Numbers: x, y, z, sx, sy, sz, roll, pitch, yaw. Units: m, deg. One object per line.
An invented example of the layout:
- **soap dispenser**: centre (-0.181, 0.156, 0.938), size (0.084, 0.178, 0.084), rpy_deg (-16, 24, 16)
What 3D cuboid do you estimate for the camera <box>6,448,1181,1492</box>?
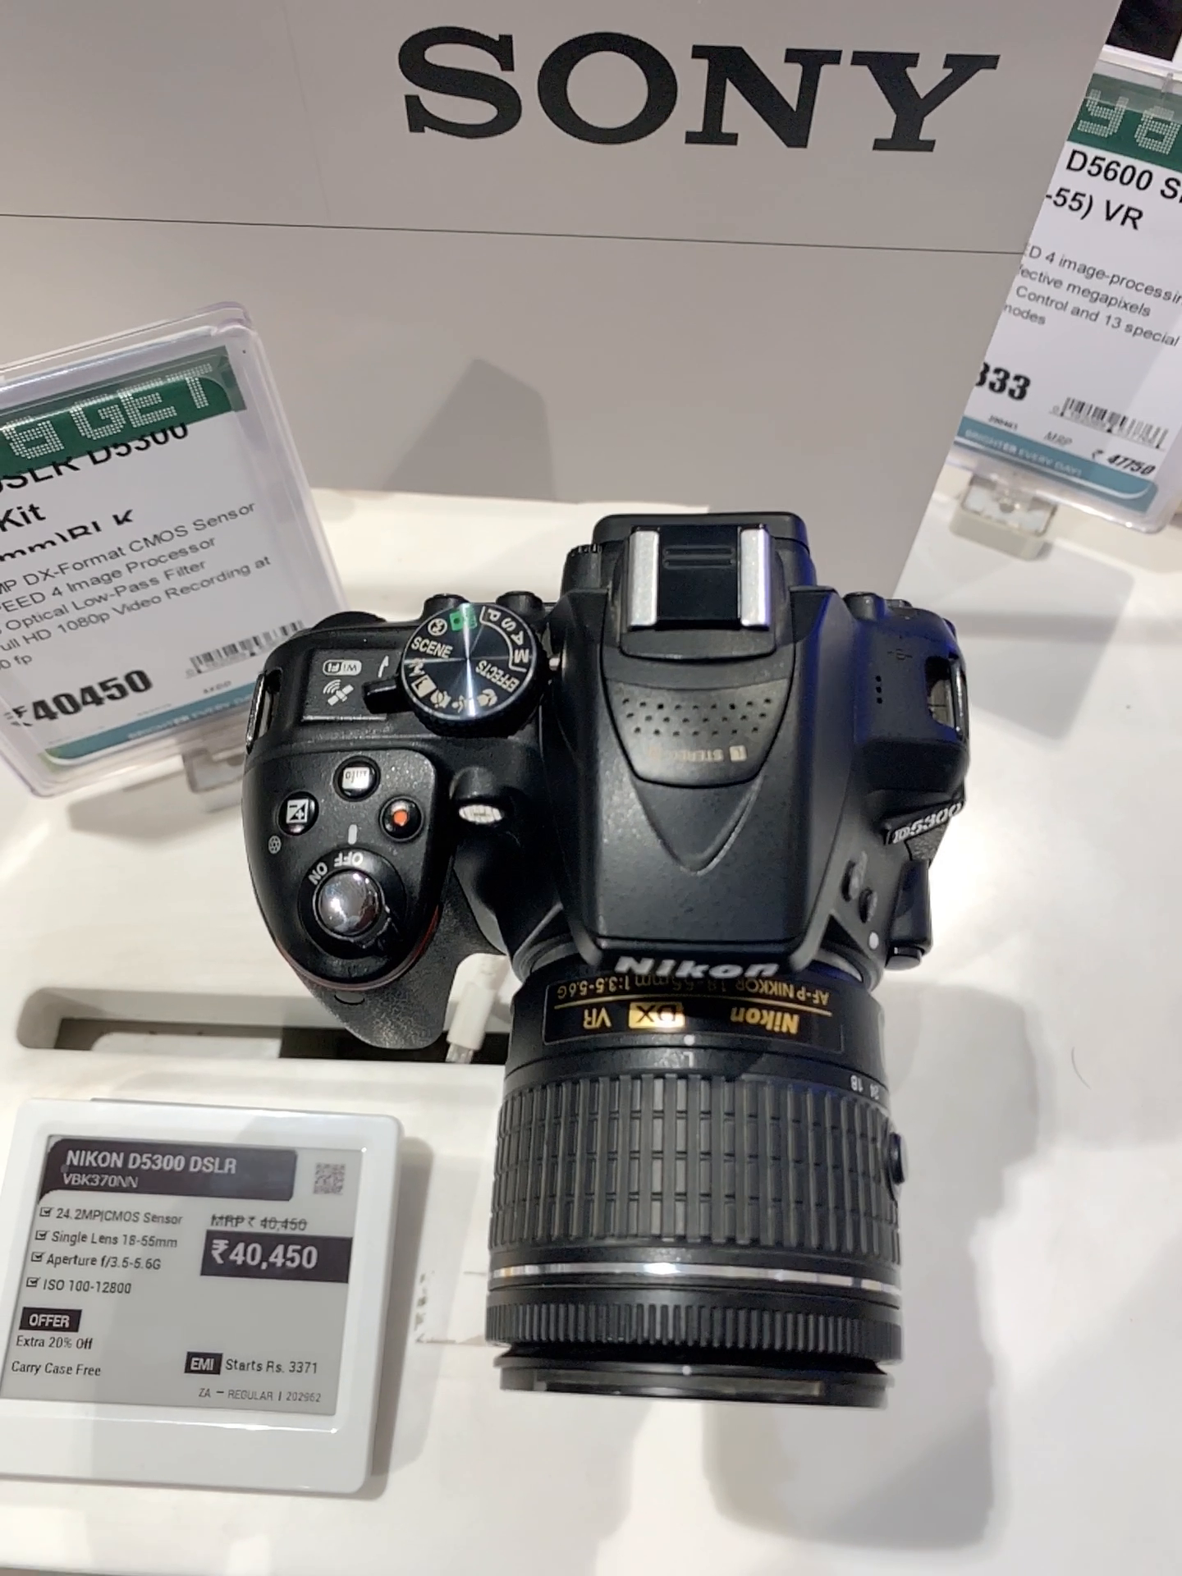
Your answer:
- **camera**: centre (0.009, 0.025, 0.177), size (0.130, 0.070, 0.130), rpy_deg (-1, 61, -1)
